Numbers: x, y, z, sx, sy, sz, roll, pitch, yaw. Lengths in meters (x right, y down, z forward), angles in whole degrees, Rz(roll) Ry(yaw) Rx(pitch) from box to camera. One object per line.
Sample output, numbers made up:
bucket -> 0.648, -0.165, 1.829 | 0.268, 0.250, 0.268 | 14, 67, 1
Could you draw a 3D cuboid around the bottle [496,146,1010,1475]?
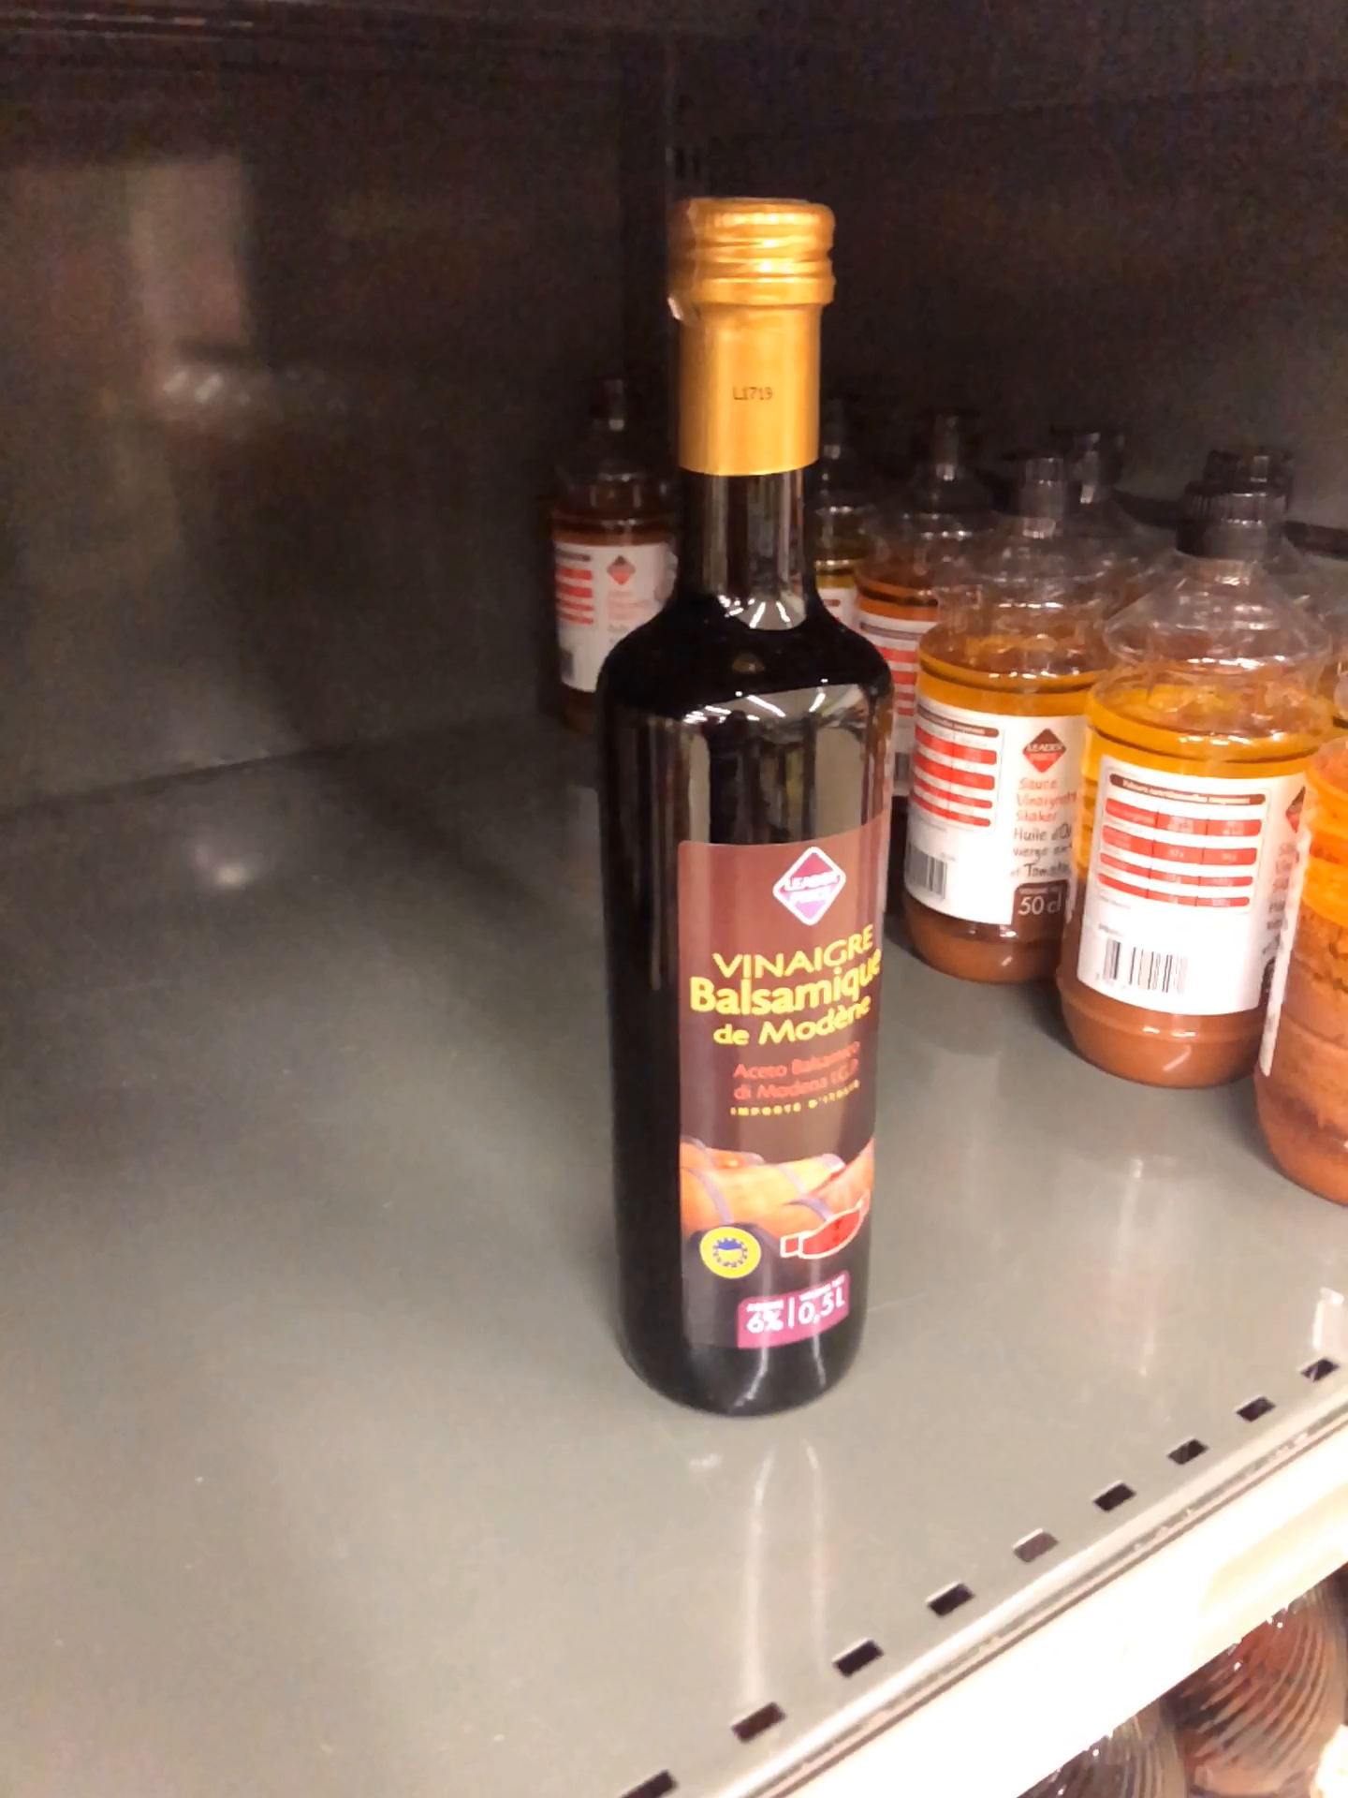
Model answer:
bottle -> 0.012, -0.012, 0.327 | 0.070, 0.269, 0.070 | 0, 23, 0
